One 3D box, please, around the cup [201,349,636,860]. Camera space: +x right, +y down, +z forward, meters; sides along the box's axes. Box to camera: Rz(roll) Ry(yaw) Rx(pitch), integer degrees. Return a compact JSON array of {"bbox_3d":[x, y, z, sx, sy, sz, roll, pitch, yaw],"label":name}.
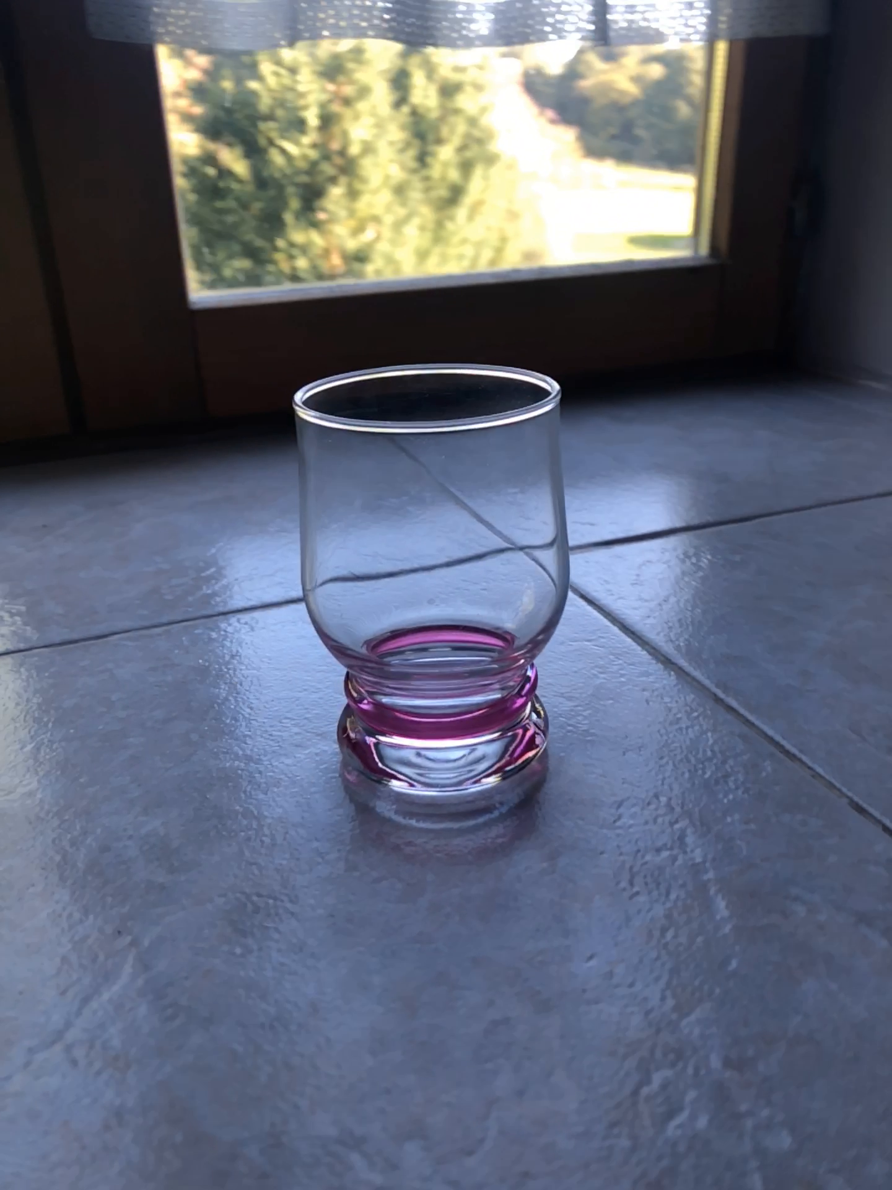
[{"bbox_3d":[-0.004,-0.005,0.267,0.079,0.102,0.079,-1,24,0],"label":"cup"}]
